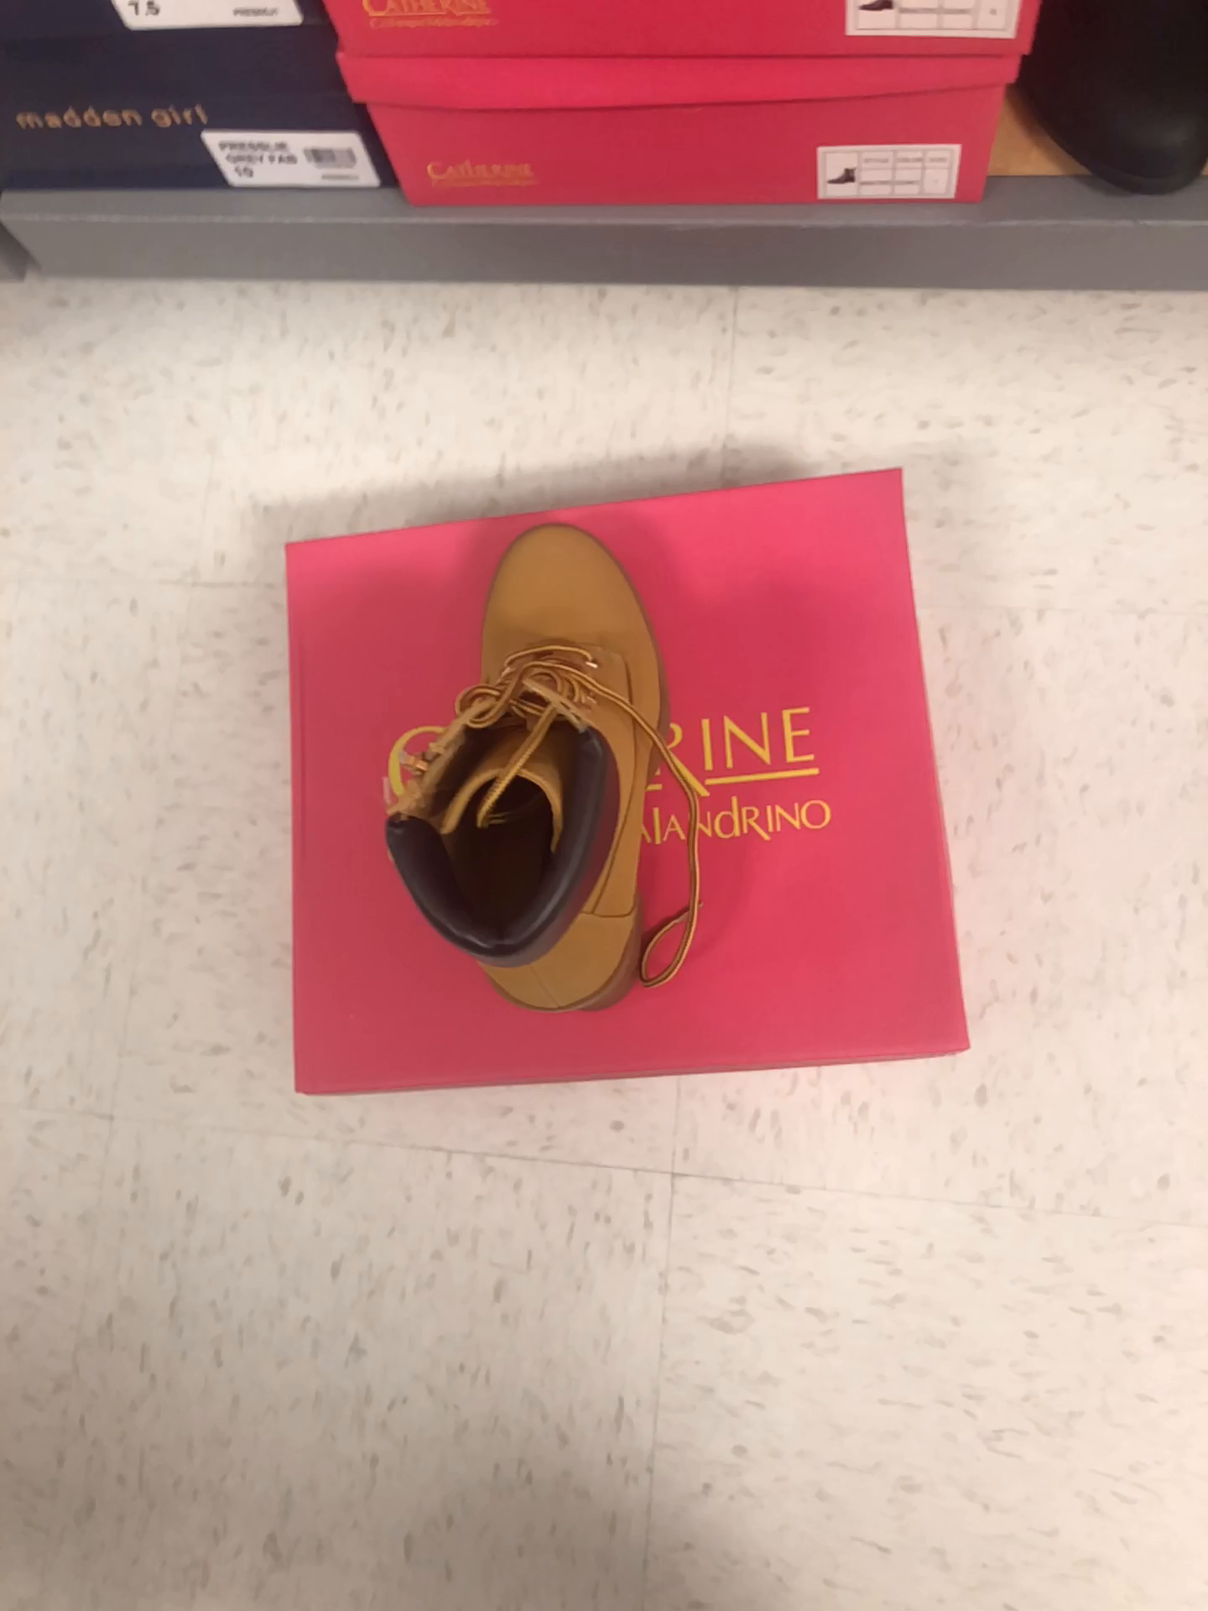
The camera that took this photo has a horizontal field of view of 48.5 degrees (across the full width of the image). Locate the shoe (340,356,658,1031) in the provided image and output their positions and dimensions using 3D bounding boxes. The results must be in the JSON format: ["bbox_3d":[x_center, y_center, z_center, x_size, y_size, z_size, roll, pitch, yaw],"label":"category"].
[{"bbox_3d":[-0.029,-0.028,0.521,0.085,0.170,0.217,-1,77,7],"label":"shoe"}]
